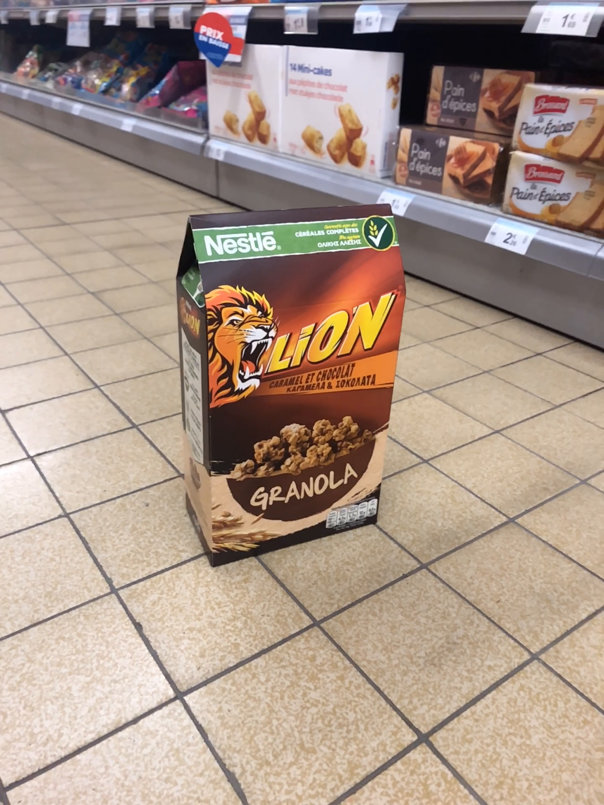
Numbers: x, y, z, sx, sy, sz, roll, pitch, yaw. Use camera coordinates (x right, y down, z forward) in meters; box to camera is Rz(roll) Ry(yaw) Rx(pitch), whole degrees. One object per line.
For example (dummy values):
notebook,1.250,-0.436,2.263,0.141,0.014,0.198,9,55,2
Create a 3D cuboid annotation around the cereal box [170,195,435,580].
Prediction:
cereal box,-0.005,-0.012,0.483,0.150,0.249,0.080,-10,30,-22
